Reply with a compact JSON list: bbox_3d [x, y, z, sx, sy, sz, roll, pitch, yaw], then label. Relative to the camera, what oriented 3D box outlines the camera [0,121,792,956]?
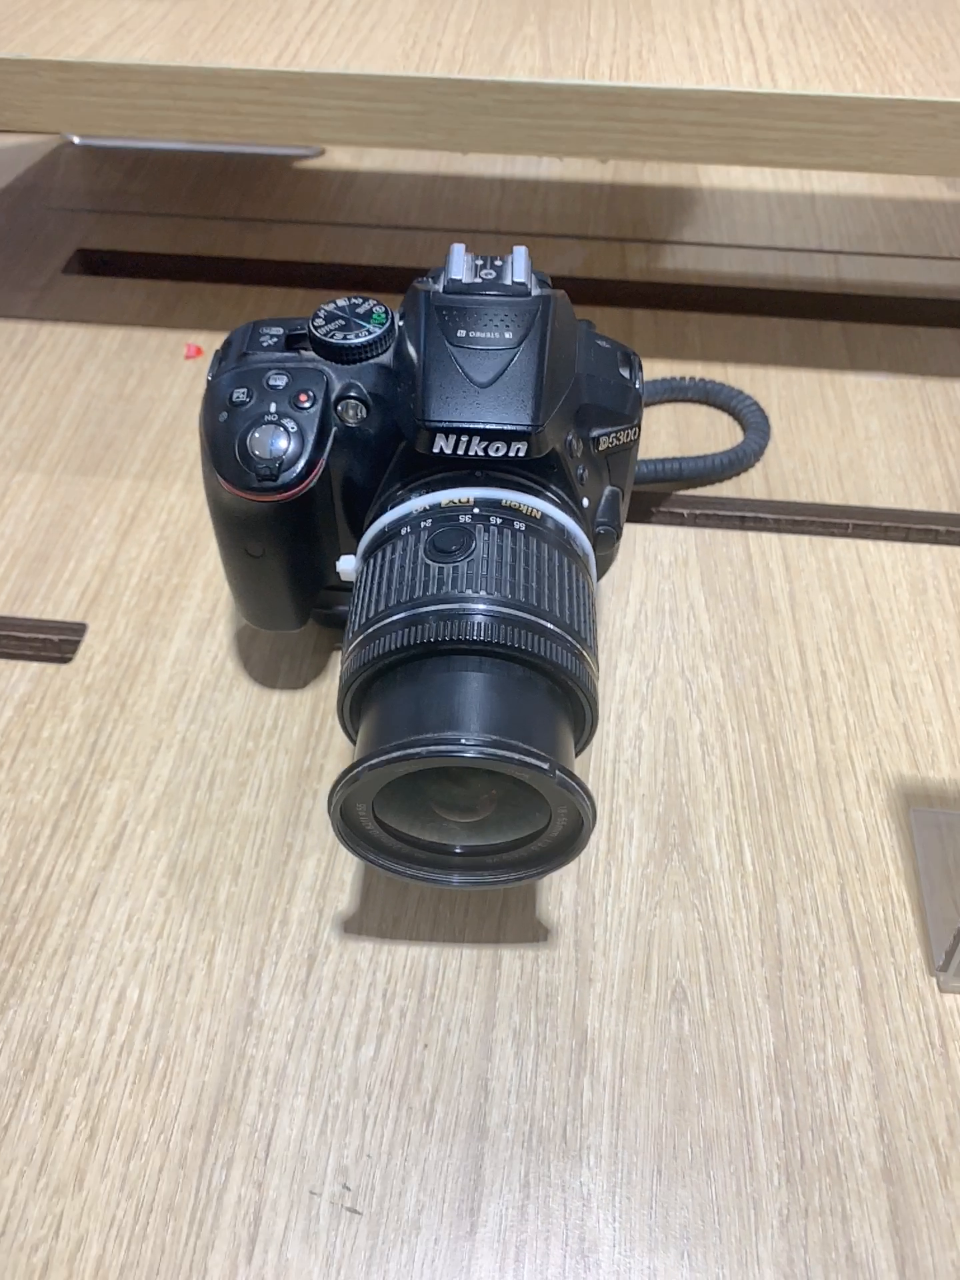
[{"bbox_3d":[-0.023,-0.039,0.283,0.160,0.120,0.210,1,50,2],"label":"camera"}]
